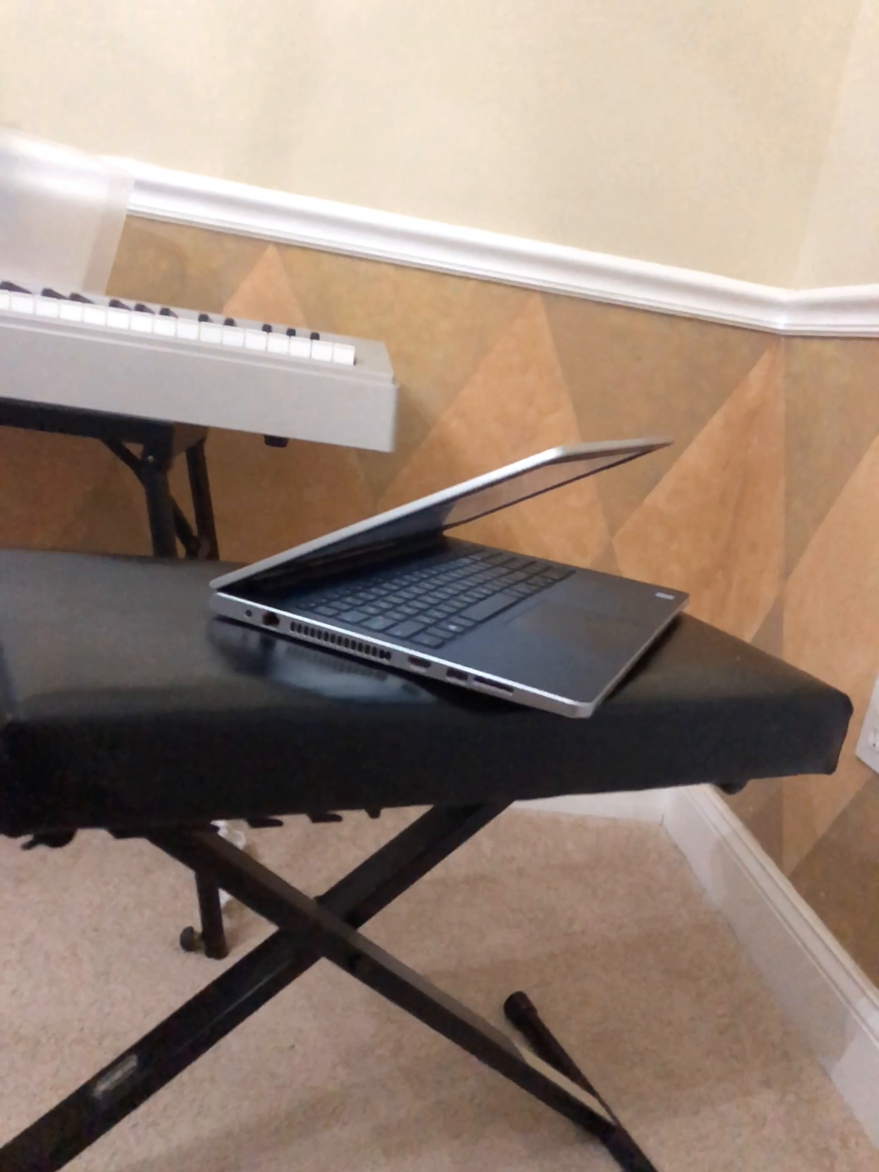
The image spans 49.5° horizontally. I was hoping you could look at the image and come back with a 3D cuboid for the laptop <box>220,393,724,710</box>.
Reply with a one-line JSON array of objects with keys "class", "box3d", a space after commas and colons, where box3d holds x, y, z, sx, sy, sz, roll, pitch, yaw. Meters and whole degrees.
[{"class": "laptop", "box3d": [0.056, -0.055, 0.745, 0.256, 0.132, 0.377, 16, 15, 19]}]
